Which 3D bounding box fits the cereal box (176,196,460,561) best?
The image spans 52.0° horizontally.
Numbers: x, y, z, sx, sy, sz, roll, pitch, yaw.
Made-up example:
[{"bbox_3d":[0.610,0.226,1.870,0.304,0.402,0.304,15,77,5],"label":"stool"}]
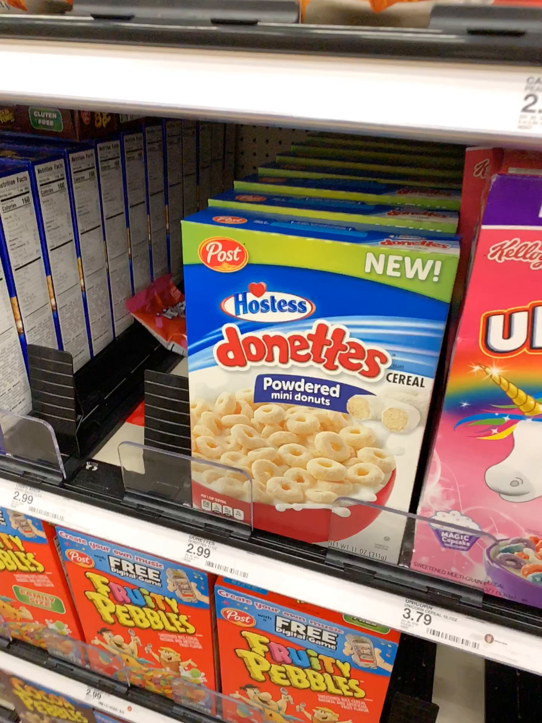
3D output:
[{"bbox_3d":[0.028,0.018,0.454,0.190,0.269,0.060,11,30,15],"label":"cereal box"}]
